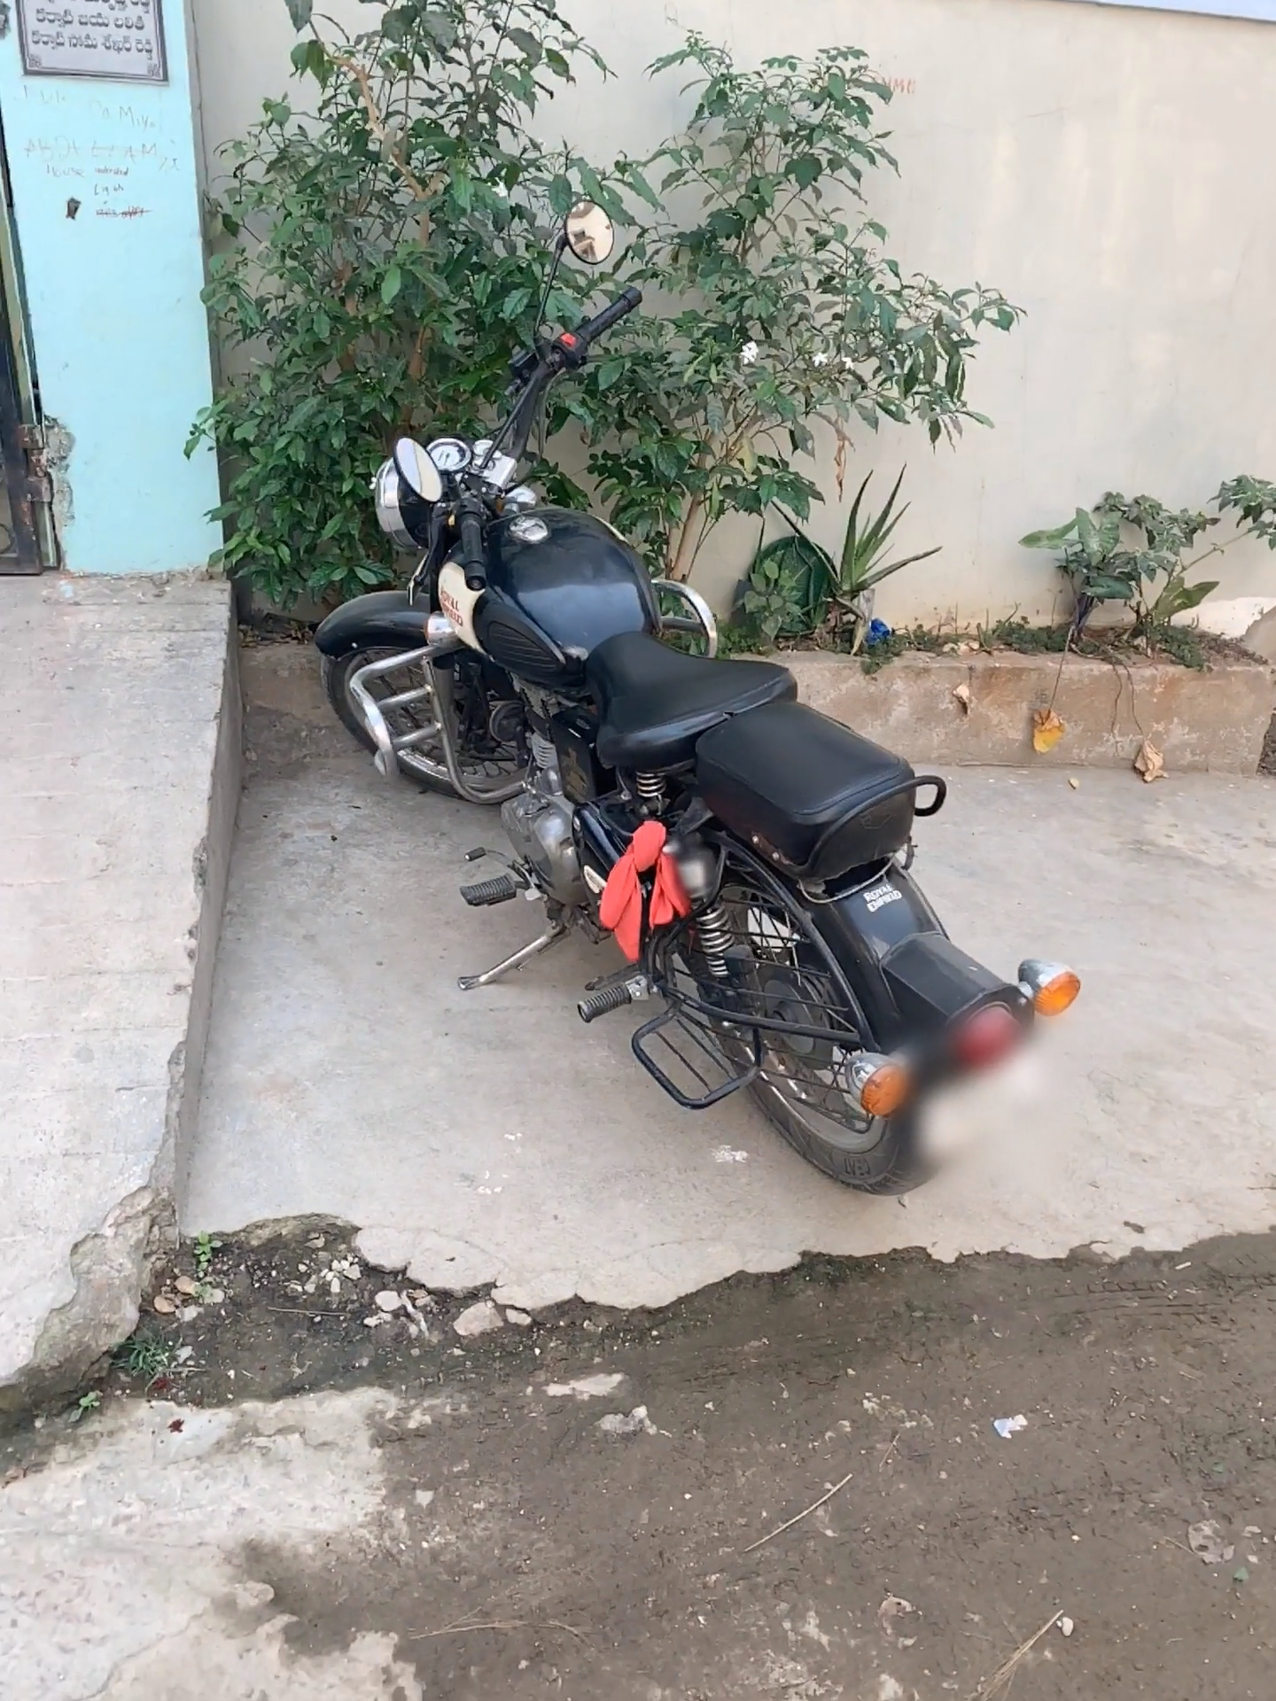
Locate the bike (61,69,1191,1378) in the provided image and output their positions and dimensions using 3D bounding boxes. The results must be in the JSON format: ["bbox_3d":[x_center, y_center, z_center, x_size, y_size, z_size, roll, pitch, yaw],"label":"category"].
[{"bbox_3d":[-0.188,-0.414,2.262,0.747,1.340,1.792,-17,37,-37],"label":"bike"}]
